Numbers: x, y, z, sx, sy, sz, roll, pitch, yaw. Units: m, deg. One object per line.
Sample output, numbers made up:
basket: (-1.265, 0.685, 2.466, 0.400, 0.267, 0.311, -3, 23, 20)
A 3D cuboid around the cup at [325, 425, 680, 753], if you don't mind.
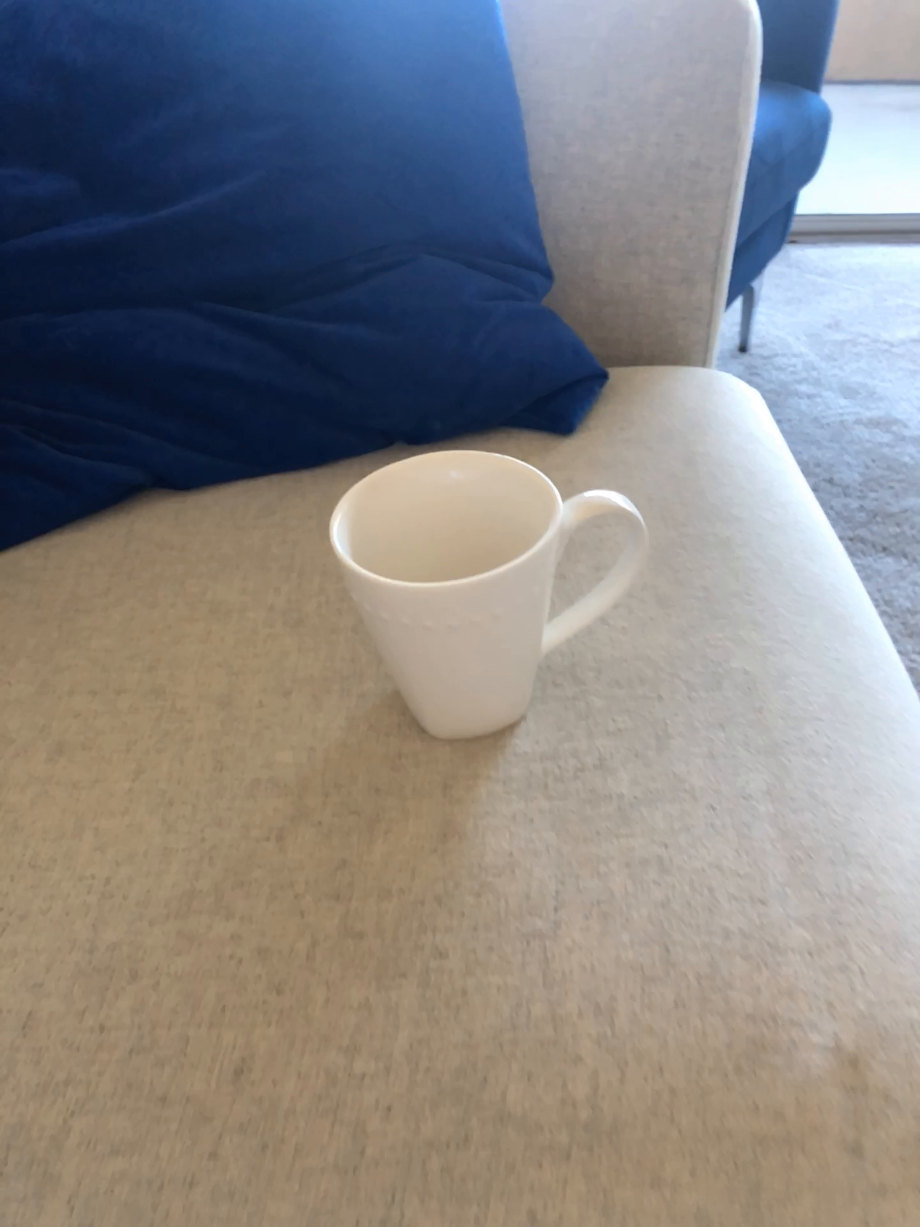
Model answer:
cup: (0.012, -0.013, 0.442, 0.130, 0.090, 0.100, -4, 38, -5)
